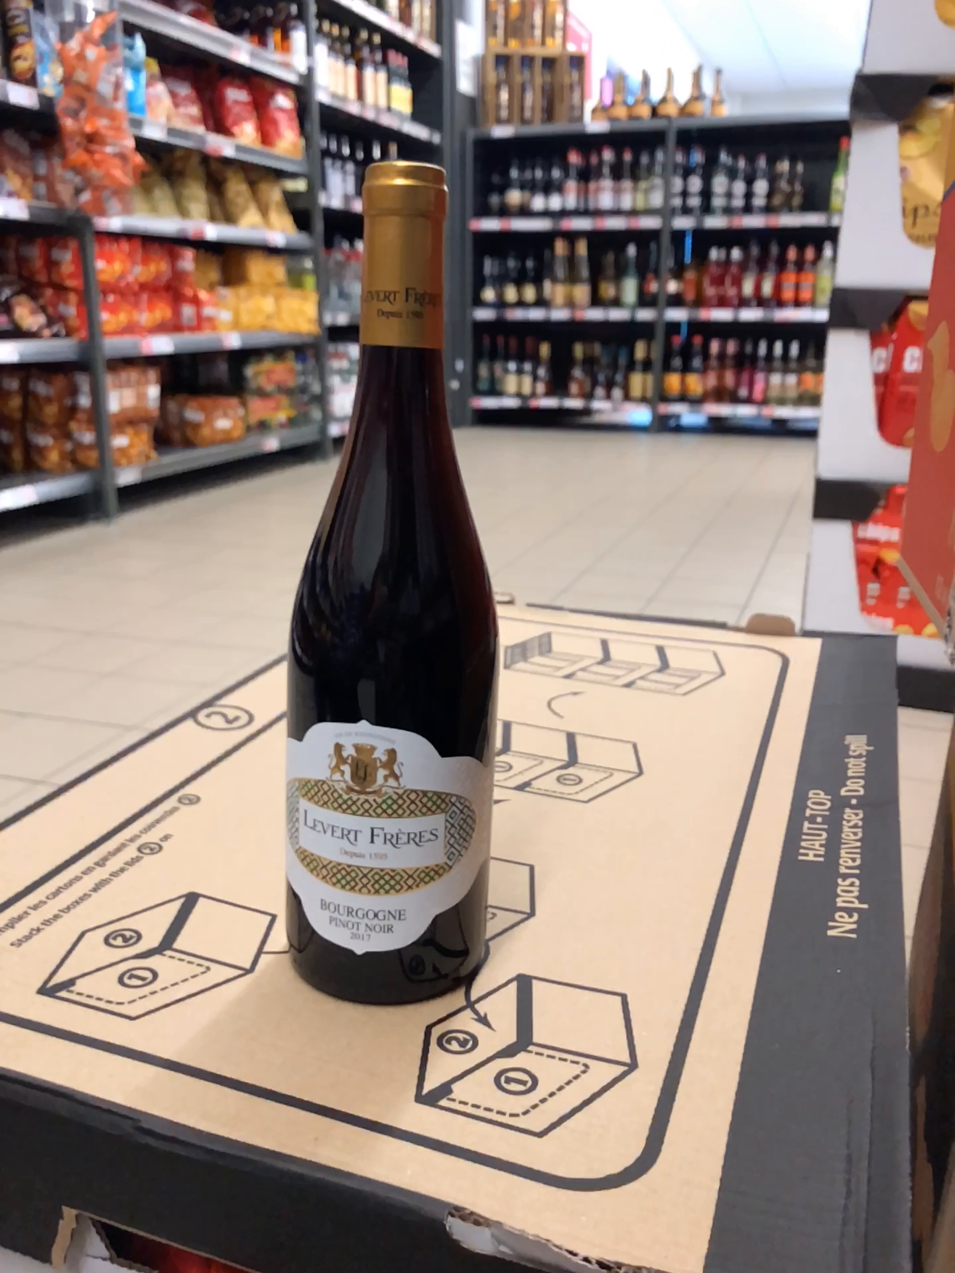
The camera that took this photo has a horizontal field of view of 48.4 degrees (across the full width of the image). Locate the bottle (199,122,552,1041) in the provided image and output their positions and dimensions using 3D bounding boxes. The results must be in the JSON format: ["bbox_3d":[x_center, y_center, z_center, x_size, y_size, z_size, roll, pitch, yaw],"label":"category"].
[{"bbox_3d":[-0.029,-0.015,0.386,0.090,0.299,0.080,5,17,16],"label":"bottle"}]
